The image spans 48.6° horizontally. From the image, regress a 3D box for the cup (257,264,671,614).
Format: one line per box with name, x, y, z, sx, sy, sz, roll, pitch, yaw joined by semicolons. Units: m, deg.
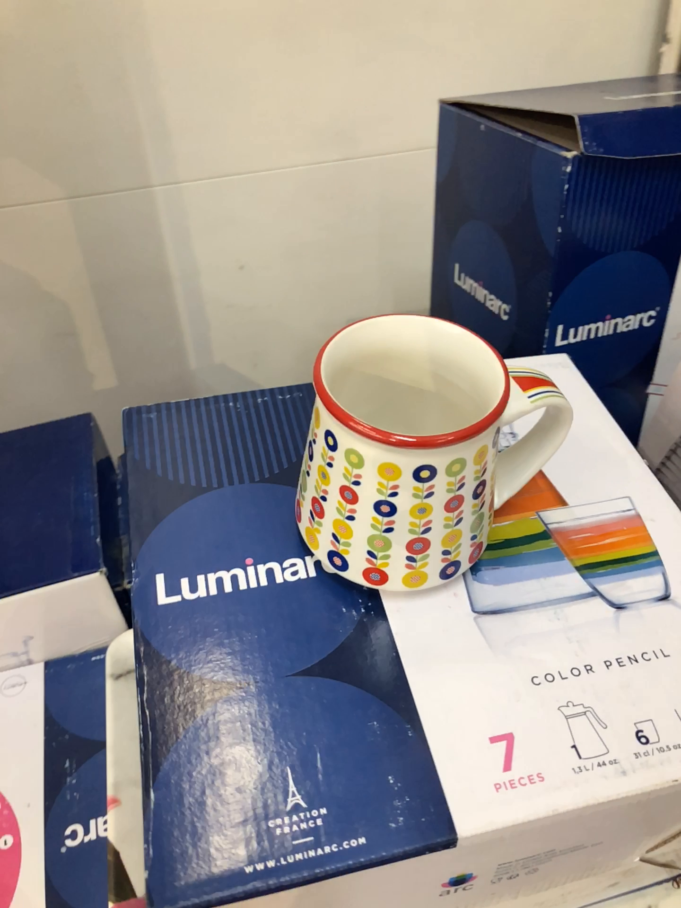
cup;0.042;-0.008;0.309;0.130;0.089;0.080;-12;47;-10
